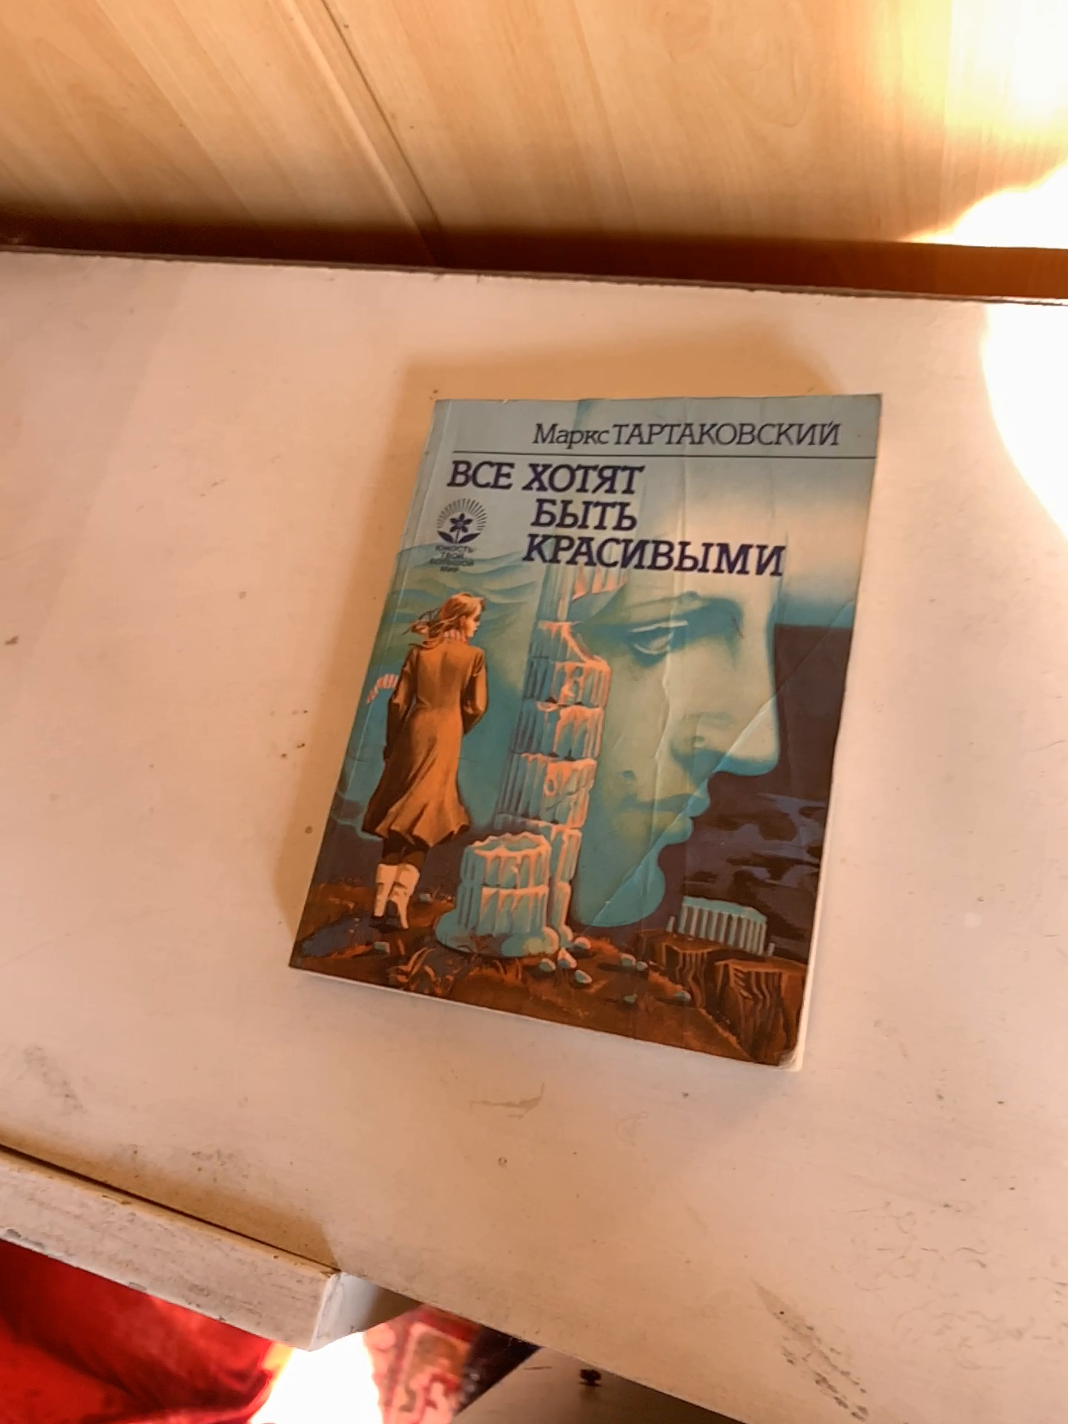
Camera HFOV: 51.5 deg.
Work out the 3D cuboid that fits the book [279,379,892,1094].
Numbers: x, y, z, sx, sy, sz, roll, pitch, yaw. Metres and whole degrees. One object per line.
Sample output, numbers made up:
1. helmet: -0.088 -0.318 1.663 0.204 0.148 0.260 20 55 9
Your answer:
1. book: 0.014 -0.005 0.264 0.120 0.013 0.160 5 74 21
